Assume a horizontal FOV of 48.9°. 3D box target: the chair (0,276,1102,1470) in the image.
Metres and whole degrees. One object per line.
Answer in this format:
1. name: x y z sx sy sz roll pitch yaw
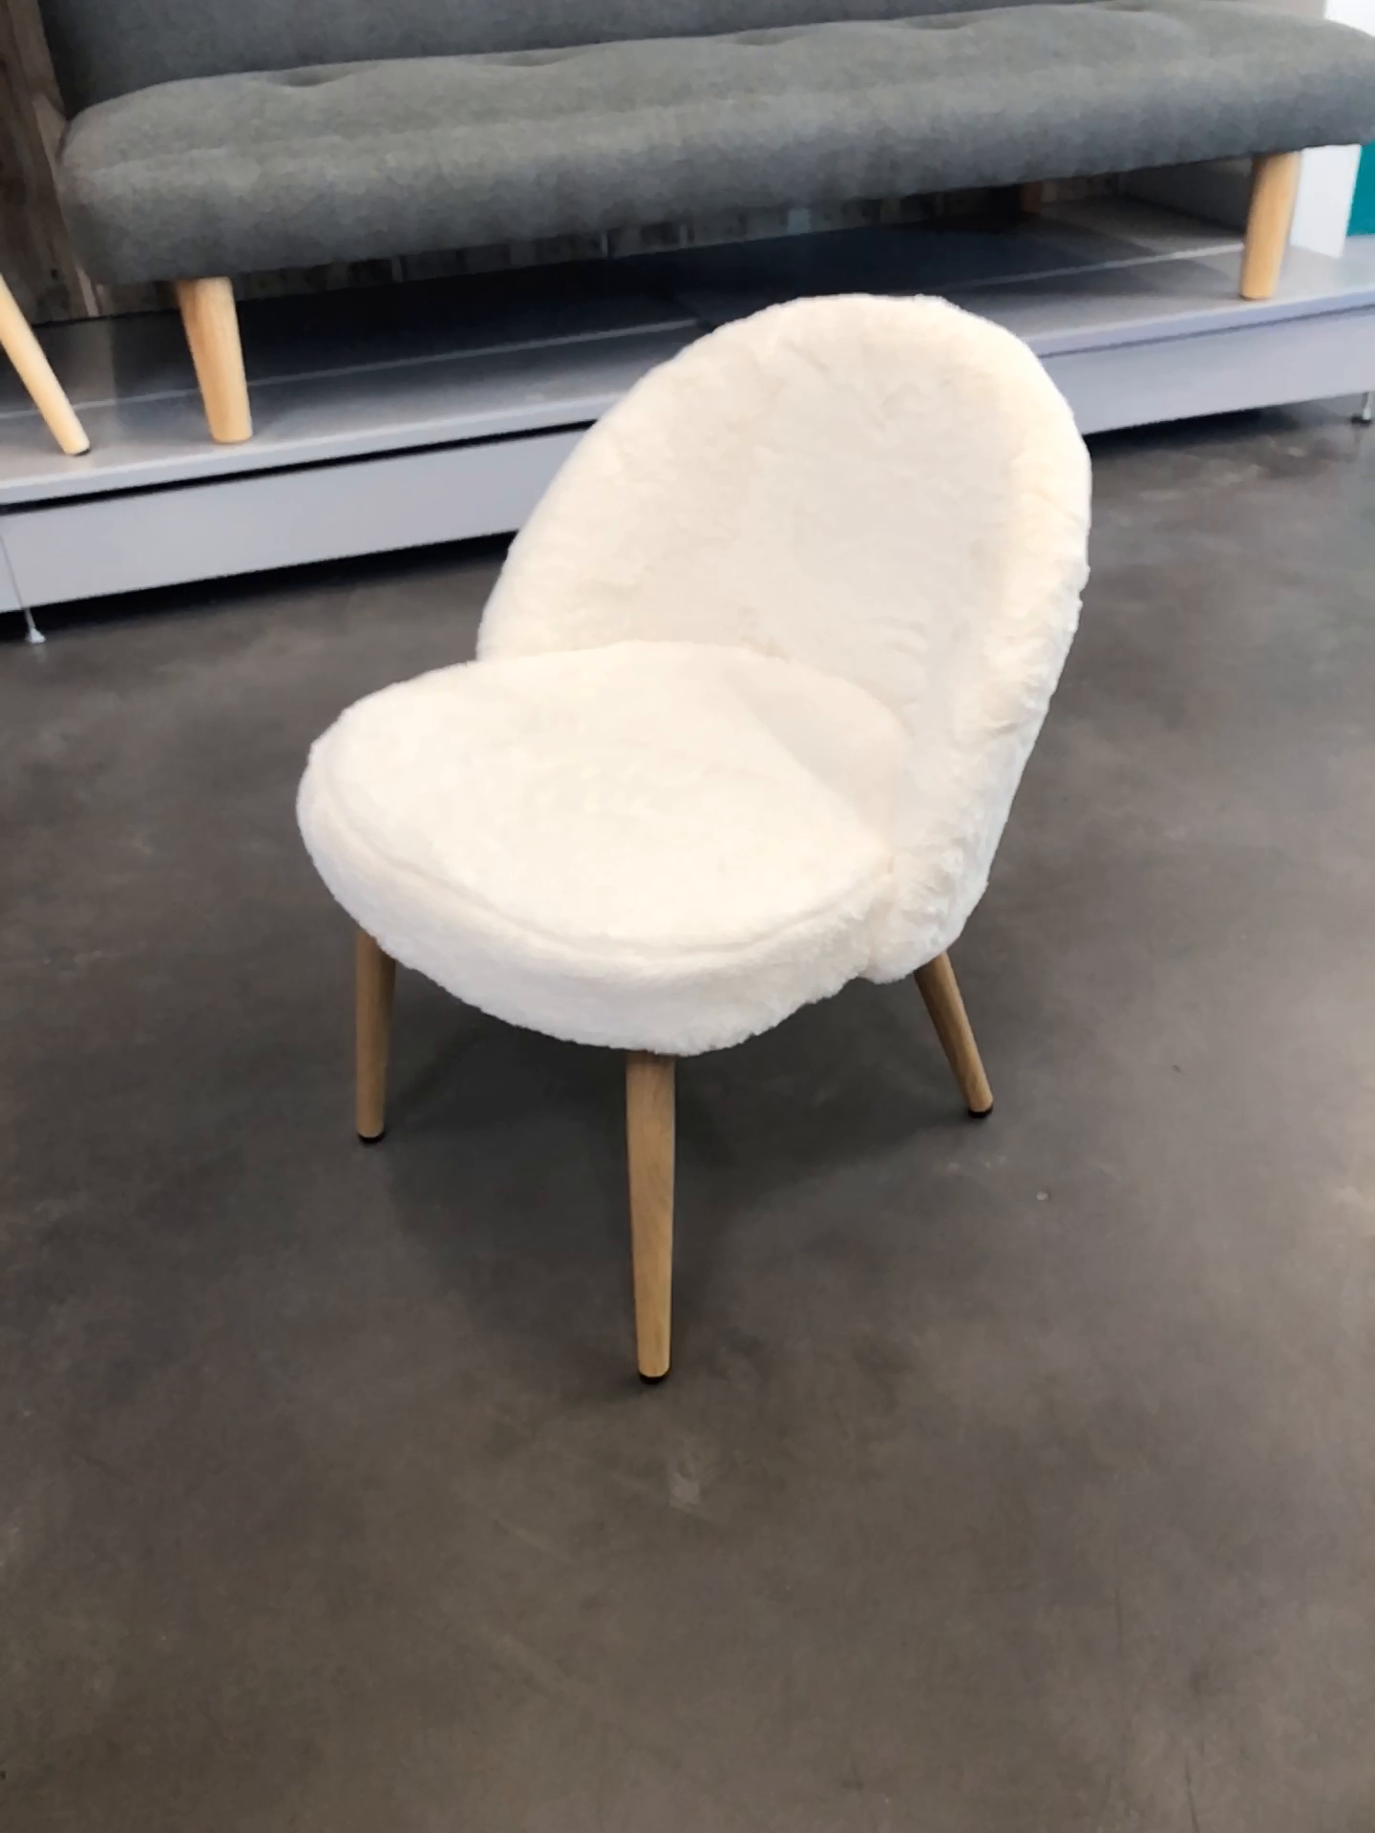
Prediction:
1. chair: -0.060 -0.073 1.002 0.472 0.537 0.410 -30 41 -33
